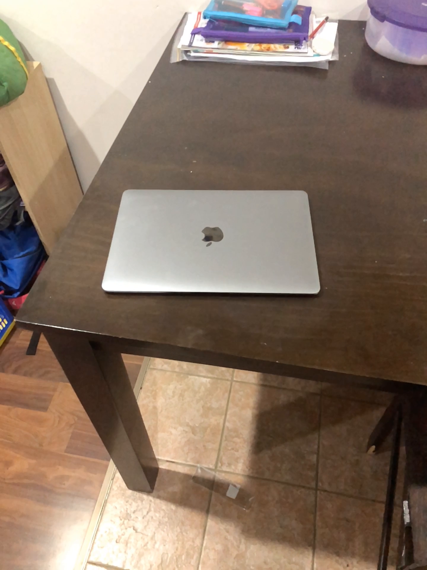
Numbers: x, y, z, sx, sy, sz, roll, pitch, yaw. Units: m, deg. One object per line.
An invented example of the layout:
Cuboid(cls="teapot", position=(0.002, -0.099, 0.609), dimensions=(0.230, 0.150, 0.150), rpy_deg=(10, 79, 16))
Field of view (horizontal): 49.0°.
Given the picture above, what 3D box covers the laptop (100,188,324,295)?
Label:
Cuboid(cls="laptop", position=(0.001, -0.066, 0.640), dimensions=(0.275, 0.002, 0.196), rpy_deg=(1, 51, 0))
